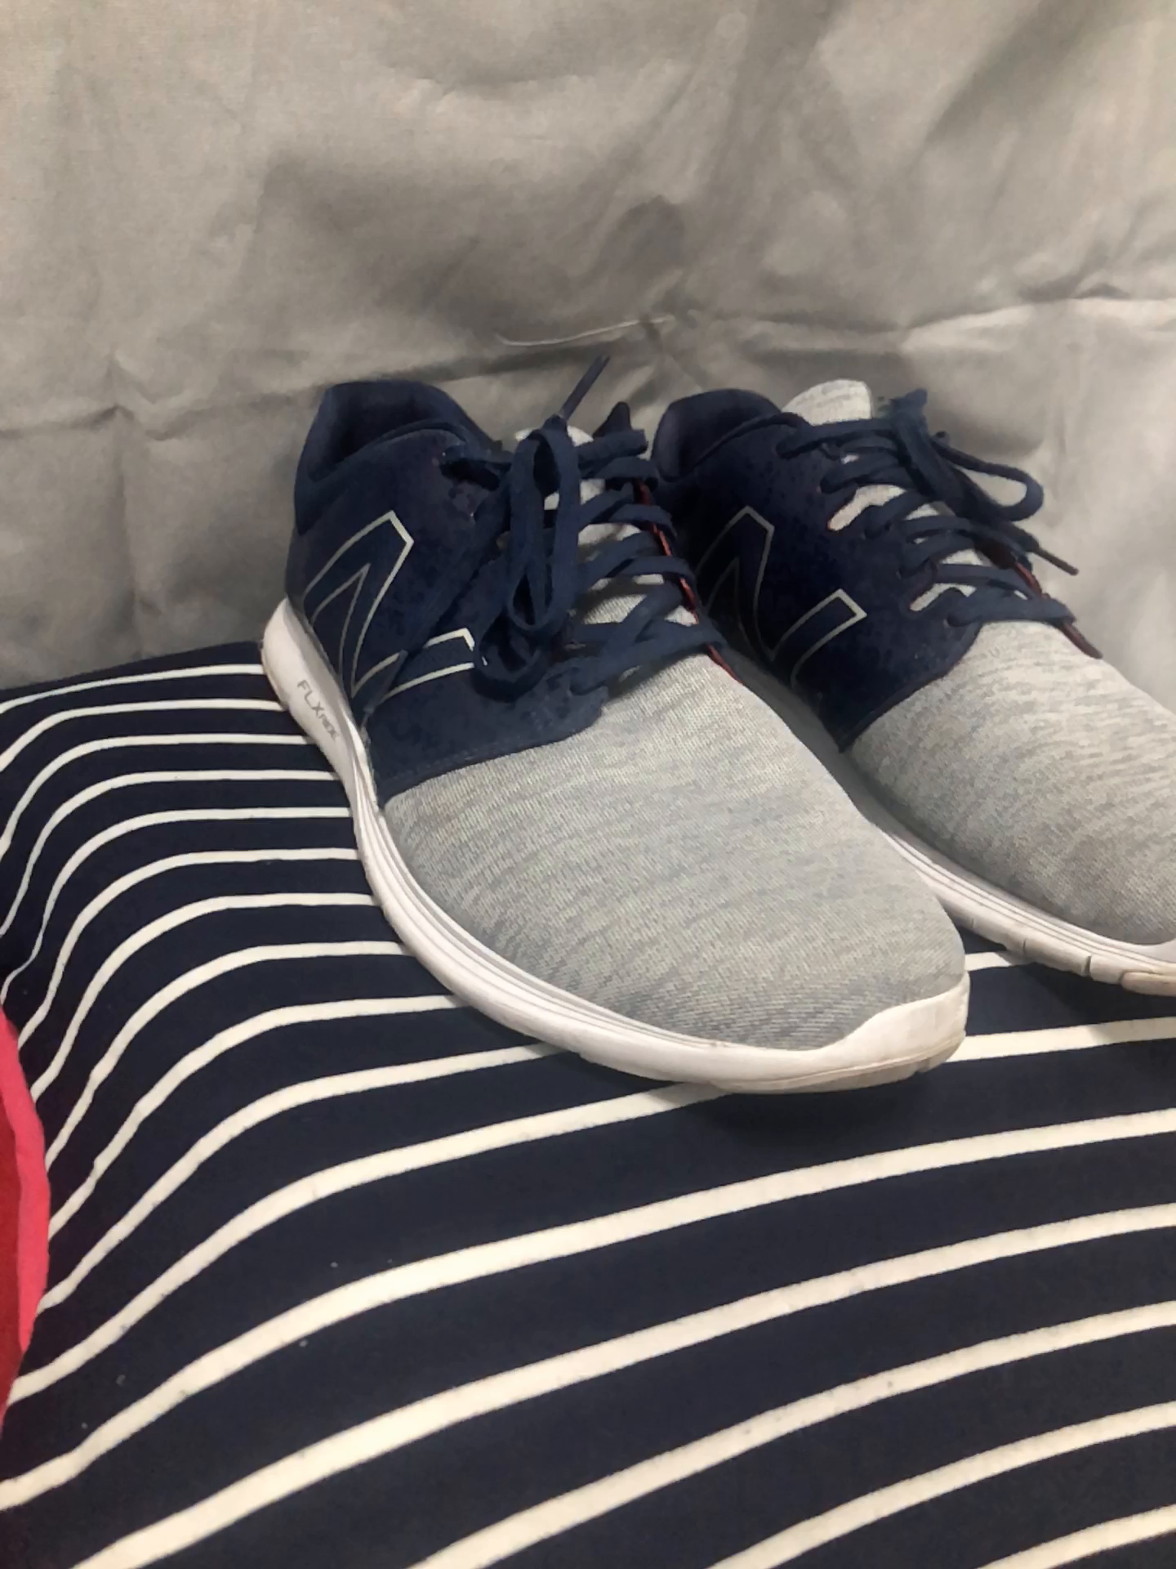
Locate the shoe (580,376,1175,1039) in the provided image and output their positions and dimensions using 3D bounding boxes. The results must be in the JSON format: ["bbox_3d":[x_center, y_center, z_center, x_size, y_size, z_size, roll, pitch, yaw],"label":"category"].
[{"bbox_3d":[0.113,-0.050,0.388,0.120,0.079,0.262,-11,32,-26],"label":"shoe"}]

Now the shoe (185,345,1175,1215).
[{"bbox_3d":[-0.013,-0.044,0.368,0.120,0.089,0.322,-11,32,-26],"label":"shoe"}]
